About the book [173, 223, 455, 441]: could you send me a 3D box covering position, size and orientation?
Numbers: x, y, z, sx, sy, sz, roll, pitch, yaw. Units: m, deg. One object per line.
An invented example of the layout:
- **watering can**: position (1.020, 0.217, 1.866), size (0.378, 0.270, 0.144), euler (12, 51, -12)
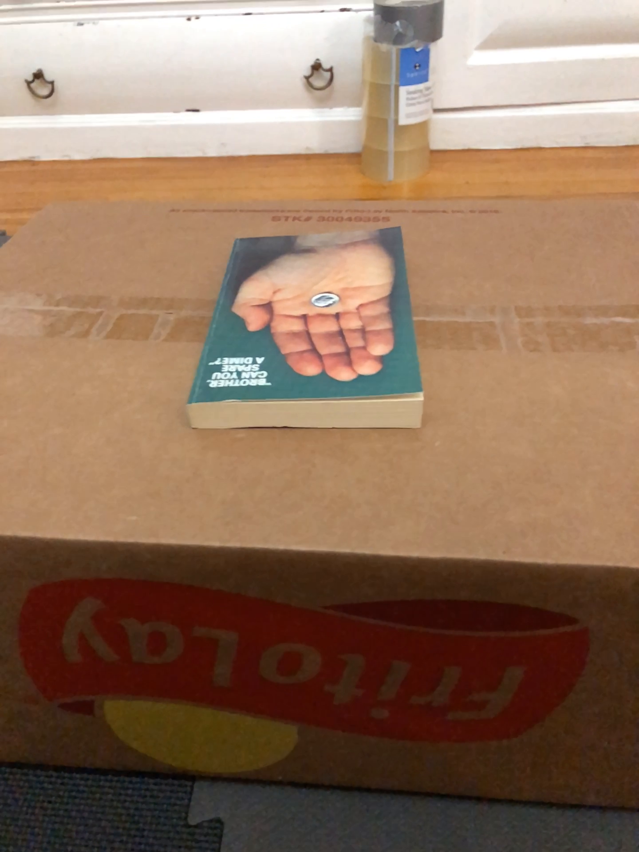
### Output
- **book**: position (0.000, -0.059, 0.375), size (0.120, 0.020, 0.181), euler (-1, 39, 3)
